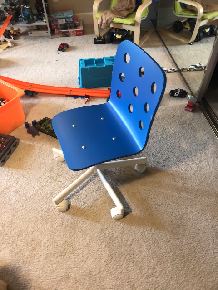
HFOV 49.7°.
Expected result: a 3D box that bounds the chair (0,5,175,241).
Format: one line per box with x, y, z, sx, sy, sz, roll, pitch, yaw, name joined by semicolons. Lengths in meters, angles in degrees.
-0.104;-0.062;0.942;0.361;0.705;0.522;-19;50;-15;chair
